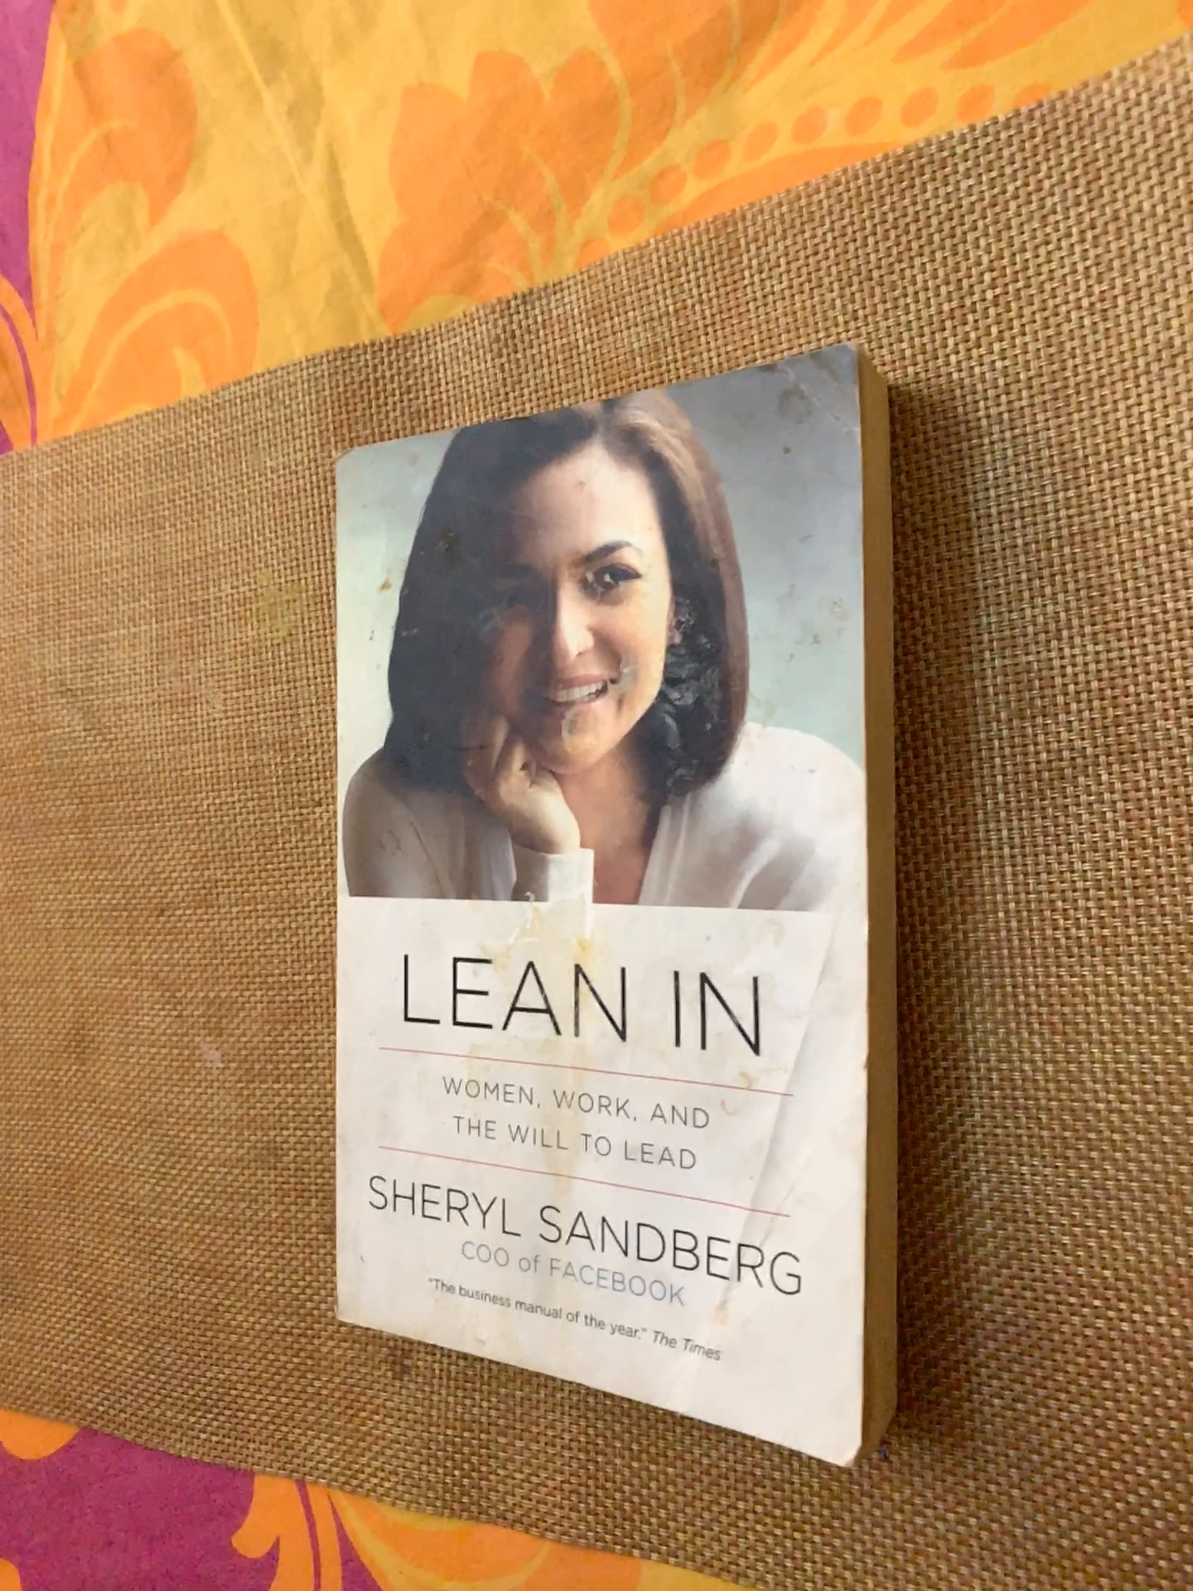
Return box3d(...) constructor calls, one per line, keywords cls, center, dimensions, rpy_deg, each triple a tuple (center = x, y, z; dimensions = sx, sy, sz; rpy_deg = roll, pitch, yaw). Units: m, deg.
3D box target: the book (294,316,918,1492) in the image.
box3d(cls="book", center=(-0.004, 0.019, 0.272), dimensions=(0.141, 0.026, 0.212), rpy_deg=(-2, 86, 32))
